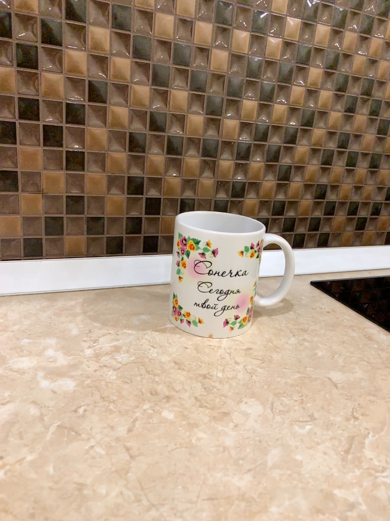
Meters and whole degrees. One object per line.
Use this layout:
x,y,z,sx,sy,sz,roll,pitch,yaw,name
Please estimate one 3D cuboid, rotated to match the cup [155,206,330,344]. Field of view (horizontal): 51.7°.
0.037,0.008,0.373,0.123,0.093,0.091,-1,20,-19,cup
